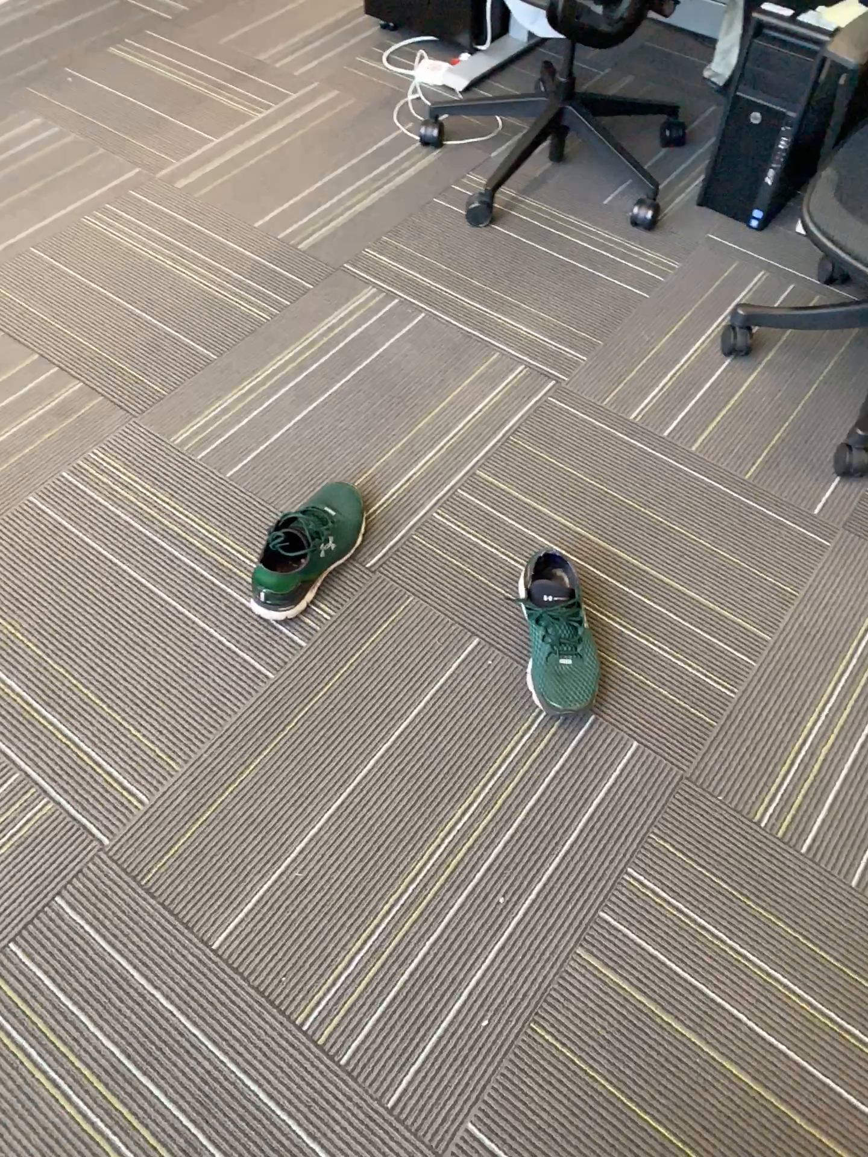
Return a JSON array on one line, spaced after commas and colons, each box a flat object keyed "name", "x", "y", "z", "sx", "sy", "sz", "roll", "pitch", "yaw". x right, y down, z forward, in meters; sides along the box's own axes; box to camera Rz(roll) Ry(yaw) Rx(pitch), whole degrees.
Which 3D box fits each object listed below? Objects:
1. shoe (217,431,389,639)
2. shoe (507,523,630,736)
[{"name": "shoe", "x": -0.208, "y": -0.078, "z": 1.492, "sx": 0.130, "sy": 0.139, "sz": 0.311, "roll": 23, "pitch": 58, "yaw": 14}, {"name": "shoe", "x": 0.208, "y": 0.078, "z": 1.437, "sx": 0.130, "sy": 0.139, "sz": 0.311, "roll": -3, "pitch": 55, "yaw": -4}]
